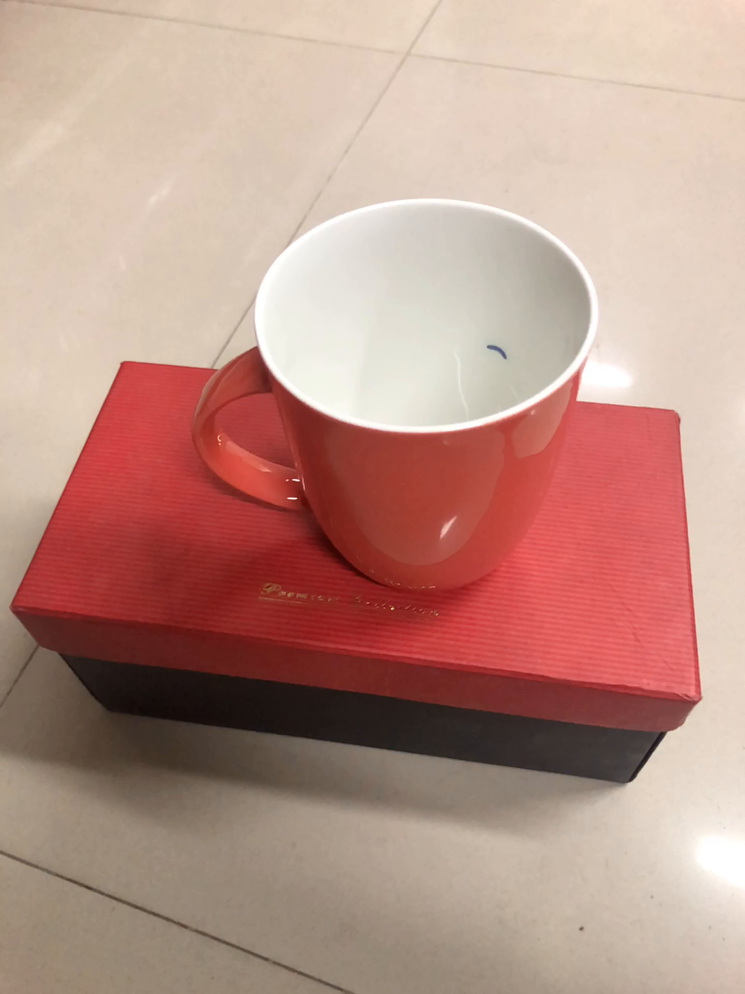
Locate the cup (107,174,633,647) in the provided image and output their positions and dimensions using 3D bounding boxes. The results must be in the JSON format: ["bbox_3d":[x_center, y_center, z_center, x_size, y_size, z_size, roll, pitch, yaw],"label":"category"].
[{"bbox_3d":[0.004,-0.023,0.235,0.110,0.090,0.090,4,55,5],"label":"cup"}]
